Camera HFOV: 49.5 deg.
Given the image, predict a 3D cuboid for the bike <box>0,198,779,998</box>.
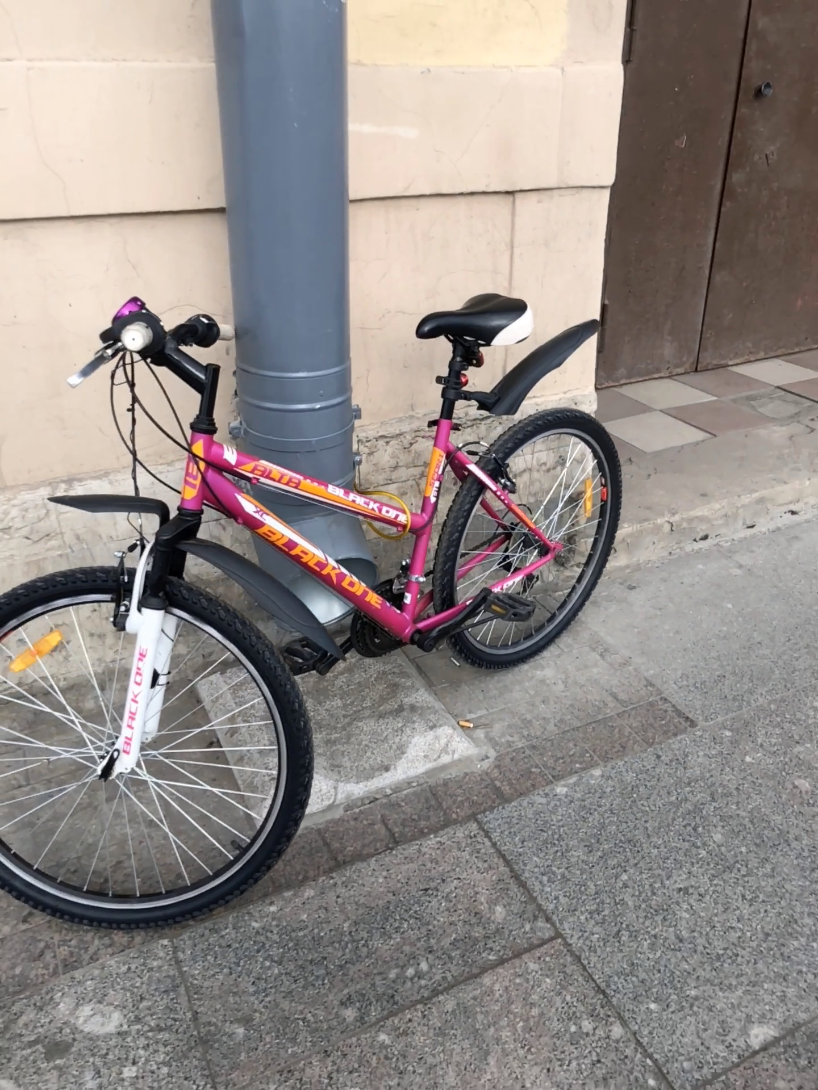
[{"bbox_3d":[-0.154,-0.055,1.761,1.576,0.974,0.625,-19,33,-29],"label":"bike"}]
